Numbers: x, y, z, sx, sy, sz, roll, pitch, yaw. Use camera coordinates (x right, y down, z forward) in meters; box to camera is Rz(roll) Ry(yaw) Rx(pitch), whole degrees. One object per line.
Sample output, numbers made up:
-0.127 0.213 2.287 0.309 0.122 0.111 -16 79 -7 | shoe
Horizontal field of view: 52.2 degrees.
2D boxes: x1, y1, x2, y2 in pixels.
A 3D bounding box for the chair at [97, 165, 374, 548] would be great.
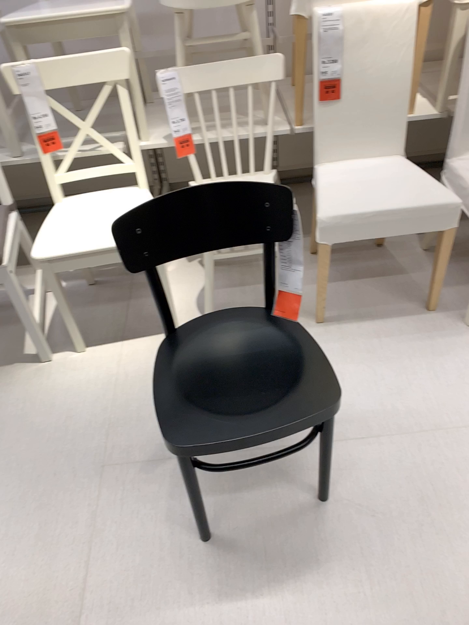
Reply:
-0.007 0.132 1.196 0.430 0.767 0.472 -14 43 -9 | chair
